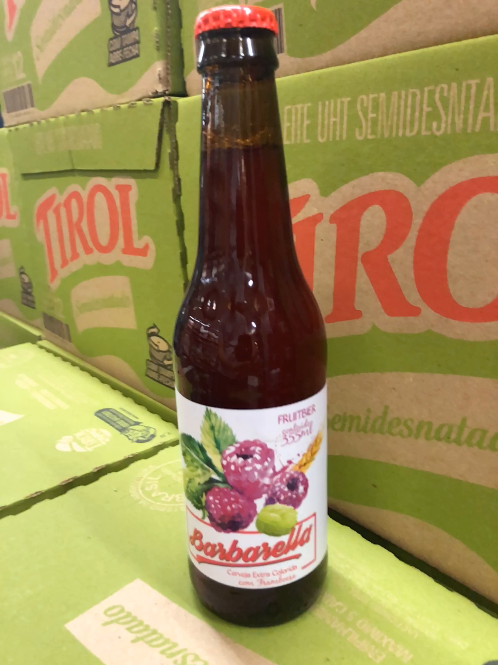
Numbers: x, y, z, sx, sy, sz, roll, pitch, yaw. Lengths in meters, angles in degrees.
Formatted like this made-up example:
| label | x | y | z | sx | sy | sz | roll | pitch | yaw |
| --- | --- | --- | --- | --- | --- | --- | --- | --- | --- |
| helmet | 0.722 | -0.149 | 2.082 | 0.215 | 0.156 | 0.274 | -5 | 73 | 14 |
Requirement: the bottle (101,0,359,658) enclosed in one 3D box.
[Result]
| label | x | y | z | sx | sy | sz | roll | pitch | yaw |
| --- | --- | --- | --- | --- | --- | --- | --- | --- | --- |
| bottle | 0.001 | 0.007 | 0.212 | 0.070 | 0.229 | 0.060 | -1 | 17 | 4 |
